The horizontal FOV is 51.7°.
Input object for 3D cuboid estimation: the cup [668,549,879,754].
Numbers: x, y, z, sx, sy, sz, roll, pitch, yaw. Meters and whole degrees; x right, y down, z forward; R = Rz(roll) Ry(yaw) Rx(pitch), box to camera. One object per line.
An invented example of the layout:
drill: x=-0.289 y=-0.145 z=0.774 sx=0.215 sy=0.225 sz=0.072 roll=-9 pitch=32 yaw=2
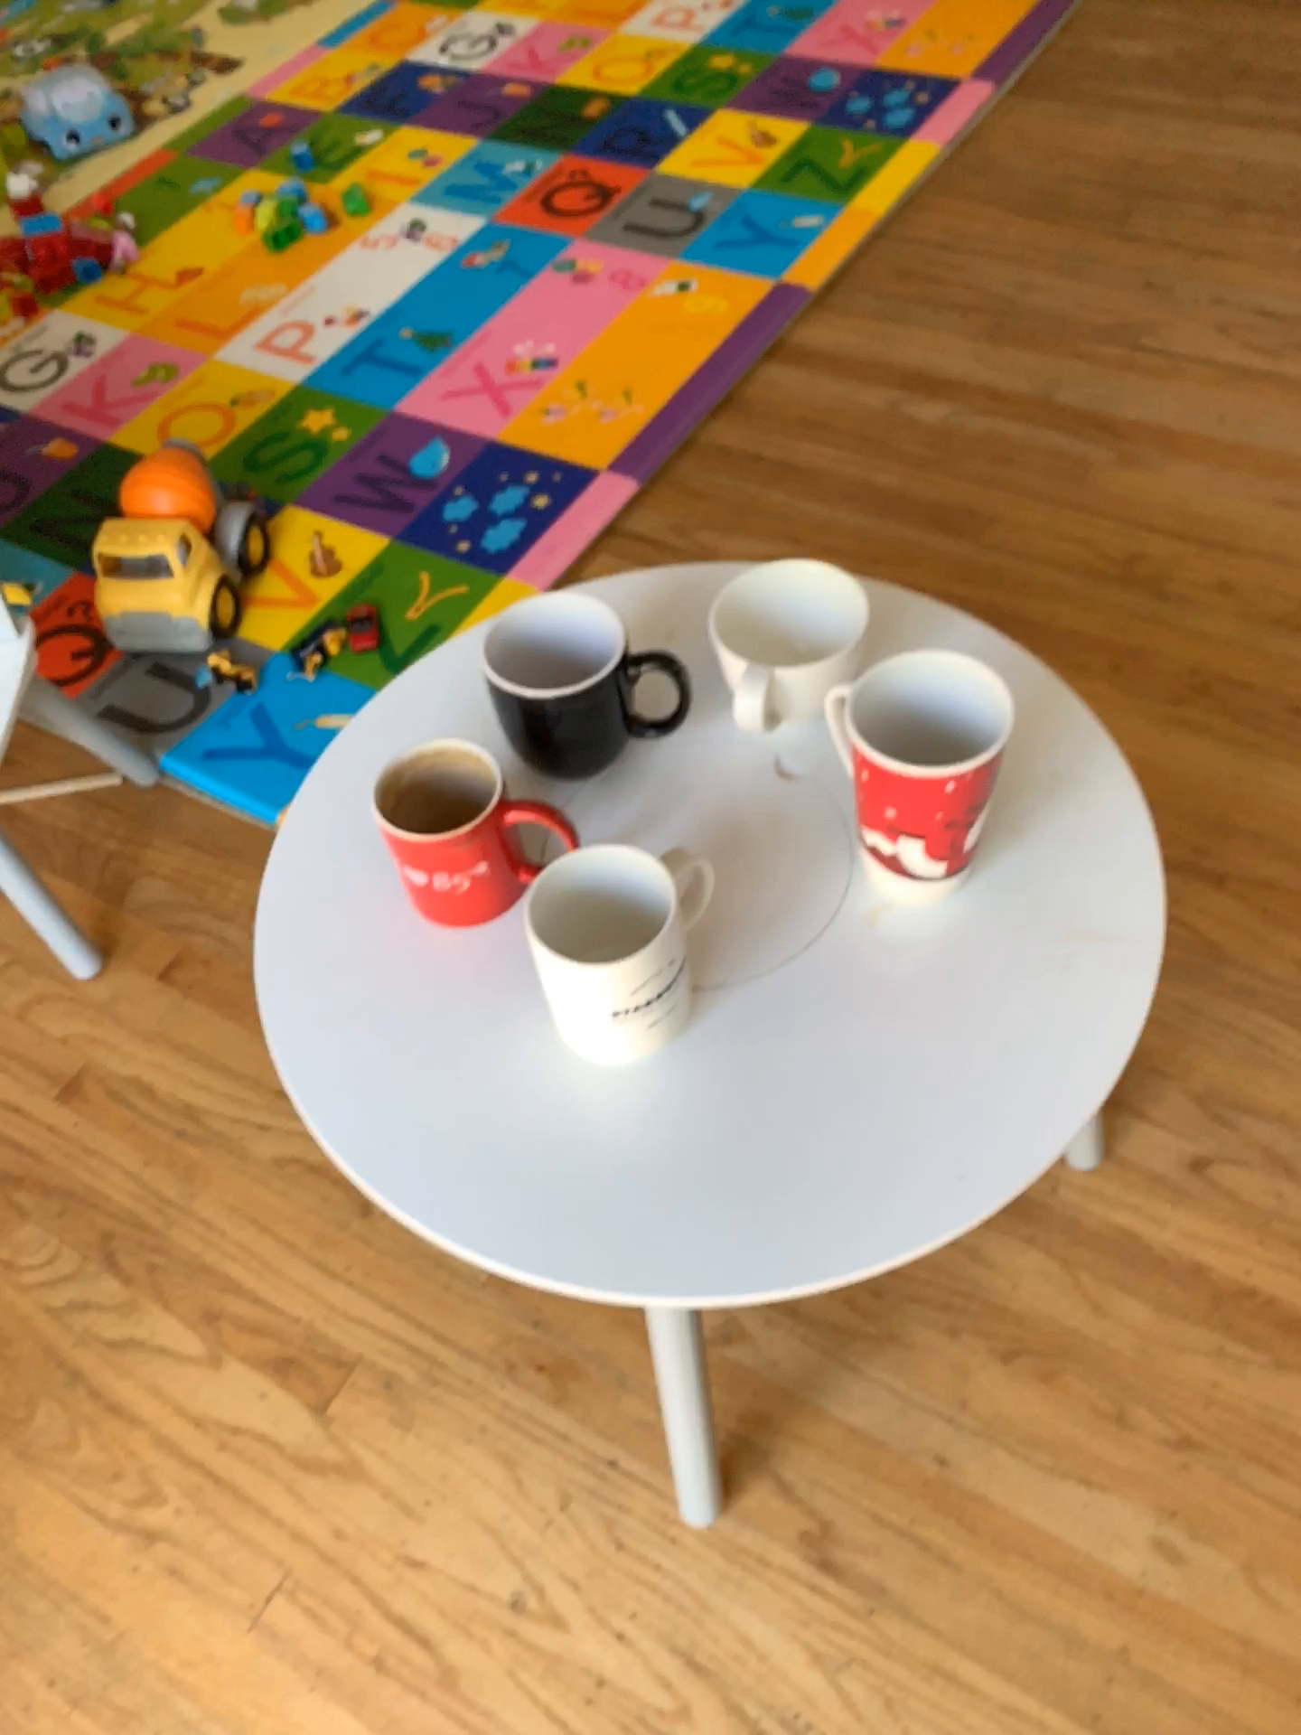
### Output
cup: x=0.079 y=-0.137 z=0.839 sx=0.100 sy=0.040 sz=0.120 roll=12 pitch=56 yaw=16

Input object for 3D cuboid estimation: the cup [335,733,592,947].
cup: x=-0.107 y=-0.016 z=0.805 sx=0.120 sy=0.090 sz=0.080 roll=5 pitch=54 yaw=11

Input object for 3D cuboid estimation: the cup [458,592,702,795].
cup: x=-0.041 y=-0.112 z=0.857 sx=0.130 sy=0.080 sz=0.090 roll=5 pitch=54 yaw=11

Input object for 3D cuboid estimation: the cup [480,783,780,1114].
cup: x=-0.007 y=0.045 z=0.750 sx=0.130 sy=0.100 sz=0.090 roll=-37 pitch=58 yaw=-19

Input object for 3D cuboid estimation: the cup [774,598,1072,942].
cup: x=0.155 y=-0.058 z=0.793 sx=0.100 sy=0.119 sz=0.131 roll=-34 pitch=57 yaw=-17
